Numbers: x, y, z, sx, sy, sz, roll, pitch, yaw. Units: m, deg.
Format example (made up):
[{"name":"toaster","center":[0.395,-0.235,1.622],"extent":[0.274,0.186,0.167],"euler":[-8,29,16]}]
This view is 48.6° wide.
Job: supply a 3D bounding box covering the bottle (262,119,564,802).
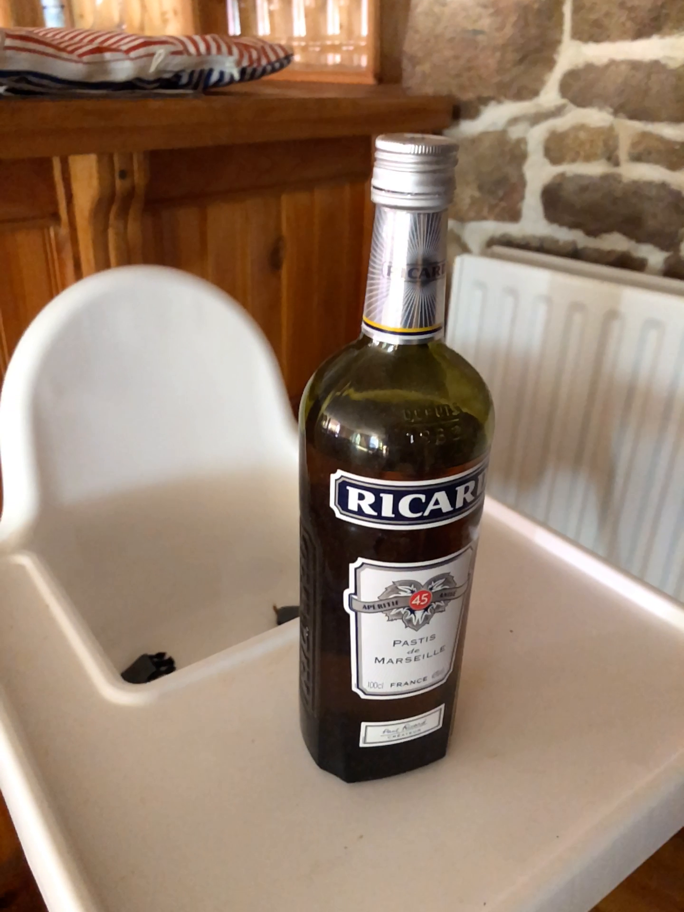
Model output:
[{"name":"bottle","center":[0.019,0.013,0.343],"extent":[0.090,0.298,0.070],"euler":[-7,28,-17]}]
